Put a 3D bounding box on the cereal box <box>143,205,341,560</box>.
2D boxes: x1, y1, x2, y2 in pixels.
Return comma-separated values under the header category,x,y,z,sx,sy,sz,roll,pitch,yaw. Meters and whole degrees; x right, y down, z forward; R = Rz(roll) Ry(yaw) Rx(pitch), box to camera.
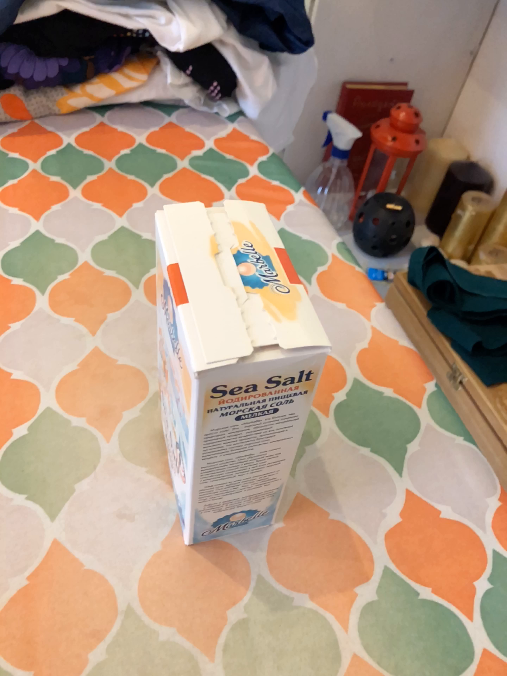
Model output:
category,x,y,z,sx,sy,sz,roll,pitch,yaw
cereal box,-0.018,0.032,0.298,0.060,0.169,0.101,-8,51,-15
